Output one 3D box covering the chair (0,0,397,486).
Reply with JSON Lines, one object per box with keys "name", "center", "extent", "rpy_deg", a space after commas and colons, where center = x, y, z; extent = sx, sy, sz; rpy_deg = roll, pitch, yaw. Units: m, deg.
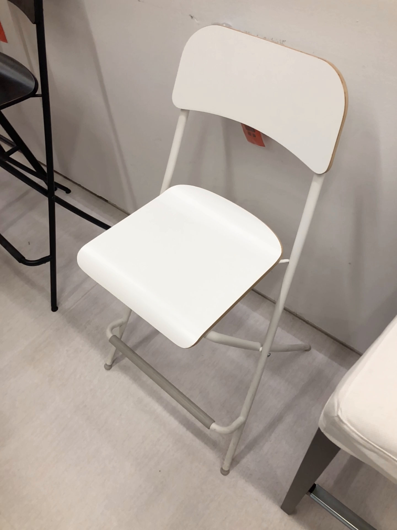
{"name": "chair", "center": [-0.010, 0.017, 0.990], "extent": [0.532, 0.895, 0.481], "rpy_deg": [32, 61, 26]}
